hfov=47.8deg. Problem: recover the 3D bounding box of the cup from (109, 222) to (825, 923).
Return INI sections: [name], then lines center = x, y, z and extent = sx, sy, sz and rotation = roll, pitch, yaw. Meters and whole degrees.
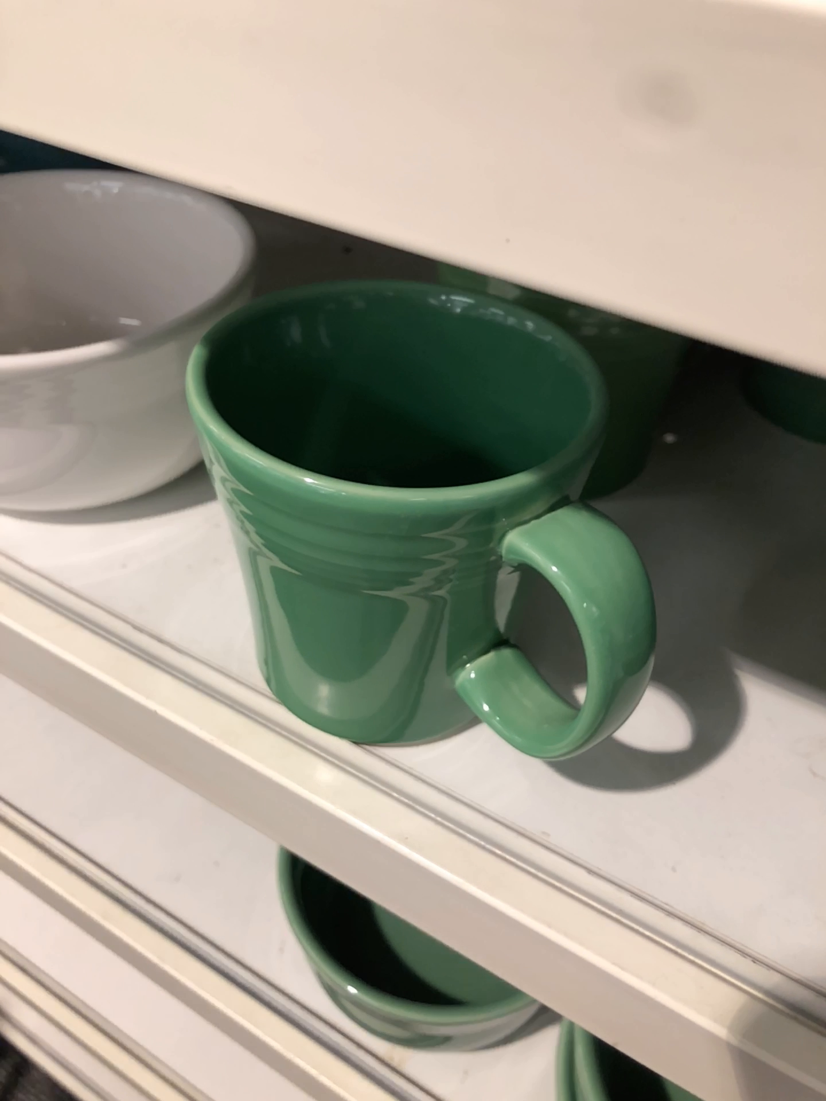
[cup]
center = 0.010, -0.005, 0.253
extent = 0.107, 0.098, 0.134
rotation = -33, 54, -31
